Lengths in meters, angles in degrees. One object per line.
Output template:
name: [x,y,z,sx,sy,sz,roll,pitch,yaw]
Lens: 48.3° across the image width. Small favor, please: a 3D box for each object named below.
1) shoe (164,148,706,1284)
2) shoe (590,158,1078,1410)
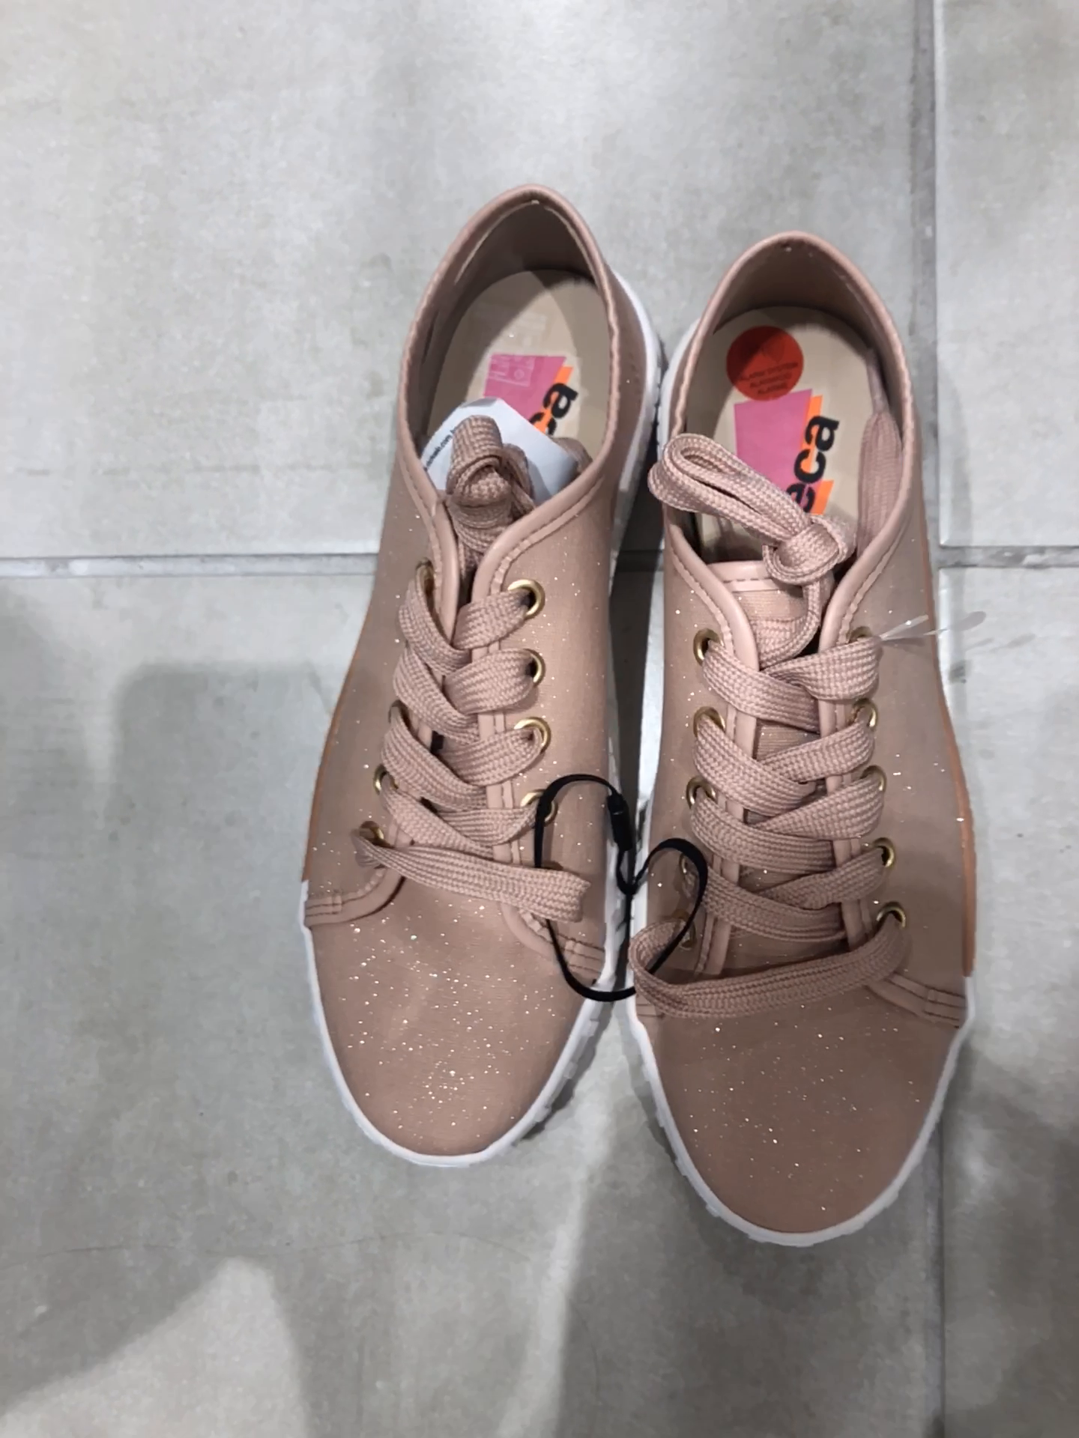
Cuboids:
shoe: [-0.016,-0.004,0.311,0.090,0.100,0.240,6,86,9]
shoe: [0.063,0.011,0.287,0.090,0.100,0.240,0,85,8]
